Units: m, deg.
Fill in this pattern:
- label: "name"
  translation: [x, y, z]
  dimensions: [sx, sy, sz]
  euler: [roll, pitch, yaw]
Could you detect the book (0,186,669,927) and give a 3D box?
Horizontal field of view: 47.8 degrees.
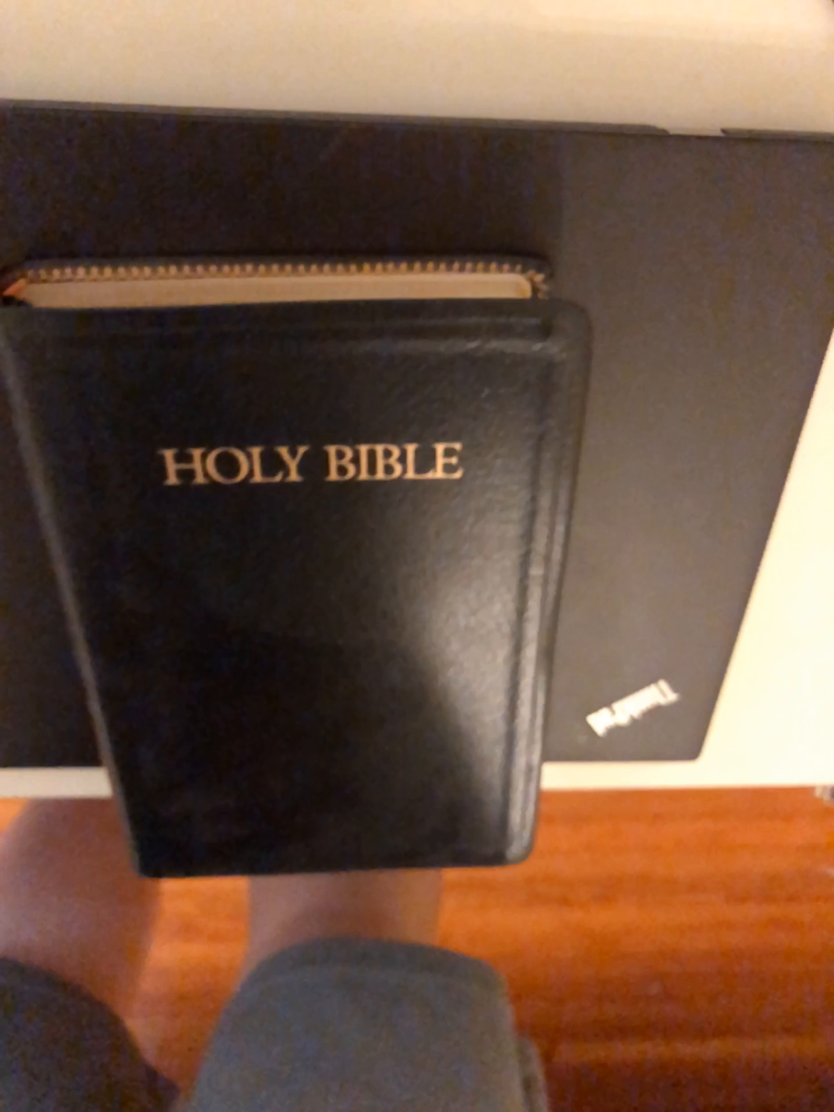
- label: "book"
  translation: [-0.031, 0.018, 0.288]
  dimensions: [0.170, 0.040, 0.240]
  euler: [-1, 123, -3]
